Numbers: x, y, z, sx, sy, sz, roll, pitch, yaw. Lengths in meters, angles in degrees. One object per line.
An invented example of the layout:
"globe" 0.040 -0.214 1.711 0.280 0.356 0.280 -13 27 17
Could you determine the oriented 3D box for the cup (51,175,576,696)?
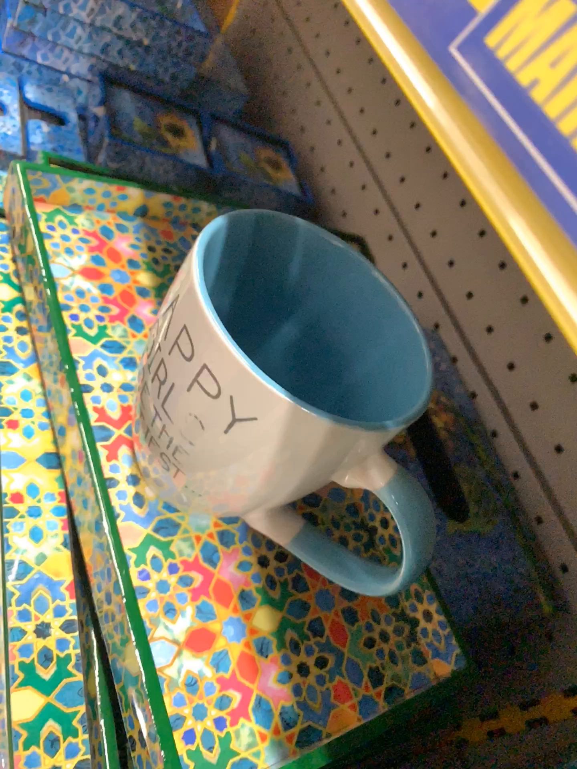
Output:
"cup" 0.007 0.009 0.245 0.120 0.100 0.150 -18 67 -47
